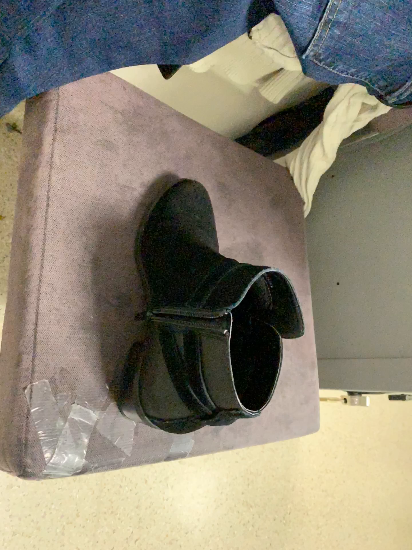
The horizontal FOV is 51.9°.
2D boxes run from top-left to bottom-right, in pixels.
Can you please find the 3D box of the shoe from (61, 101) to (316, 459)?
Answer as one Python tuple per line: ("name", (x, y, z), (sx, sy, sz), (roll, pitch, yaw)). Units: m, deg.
("shoe", (-0.003, 0.003, 0.380), (0.105, 0.135, 0.266), (34, 58, -35))
